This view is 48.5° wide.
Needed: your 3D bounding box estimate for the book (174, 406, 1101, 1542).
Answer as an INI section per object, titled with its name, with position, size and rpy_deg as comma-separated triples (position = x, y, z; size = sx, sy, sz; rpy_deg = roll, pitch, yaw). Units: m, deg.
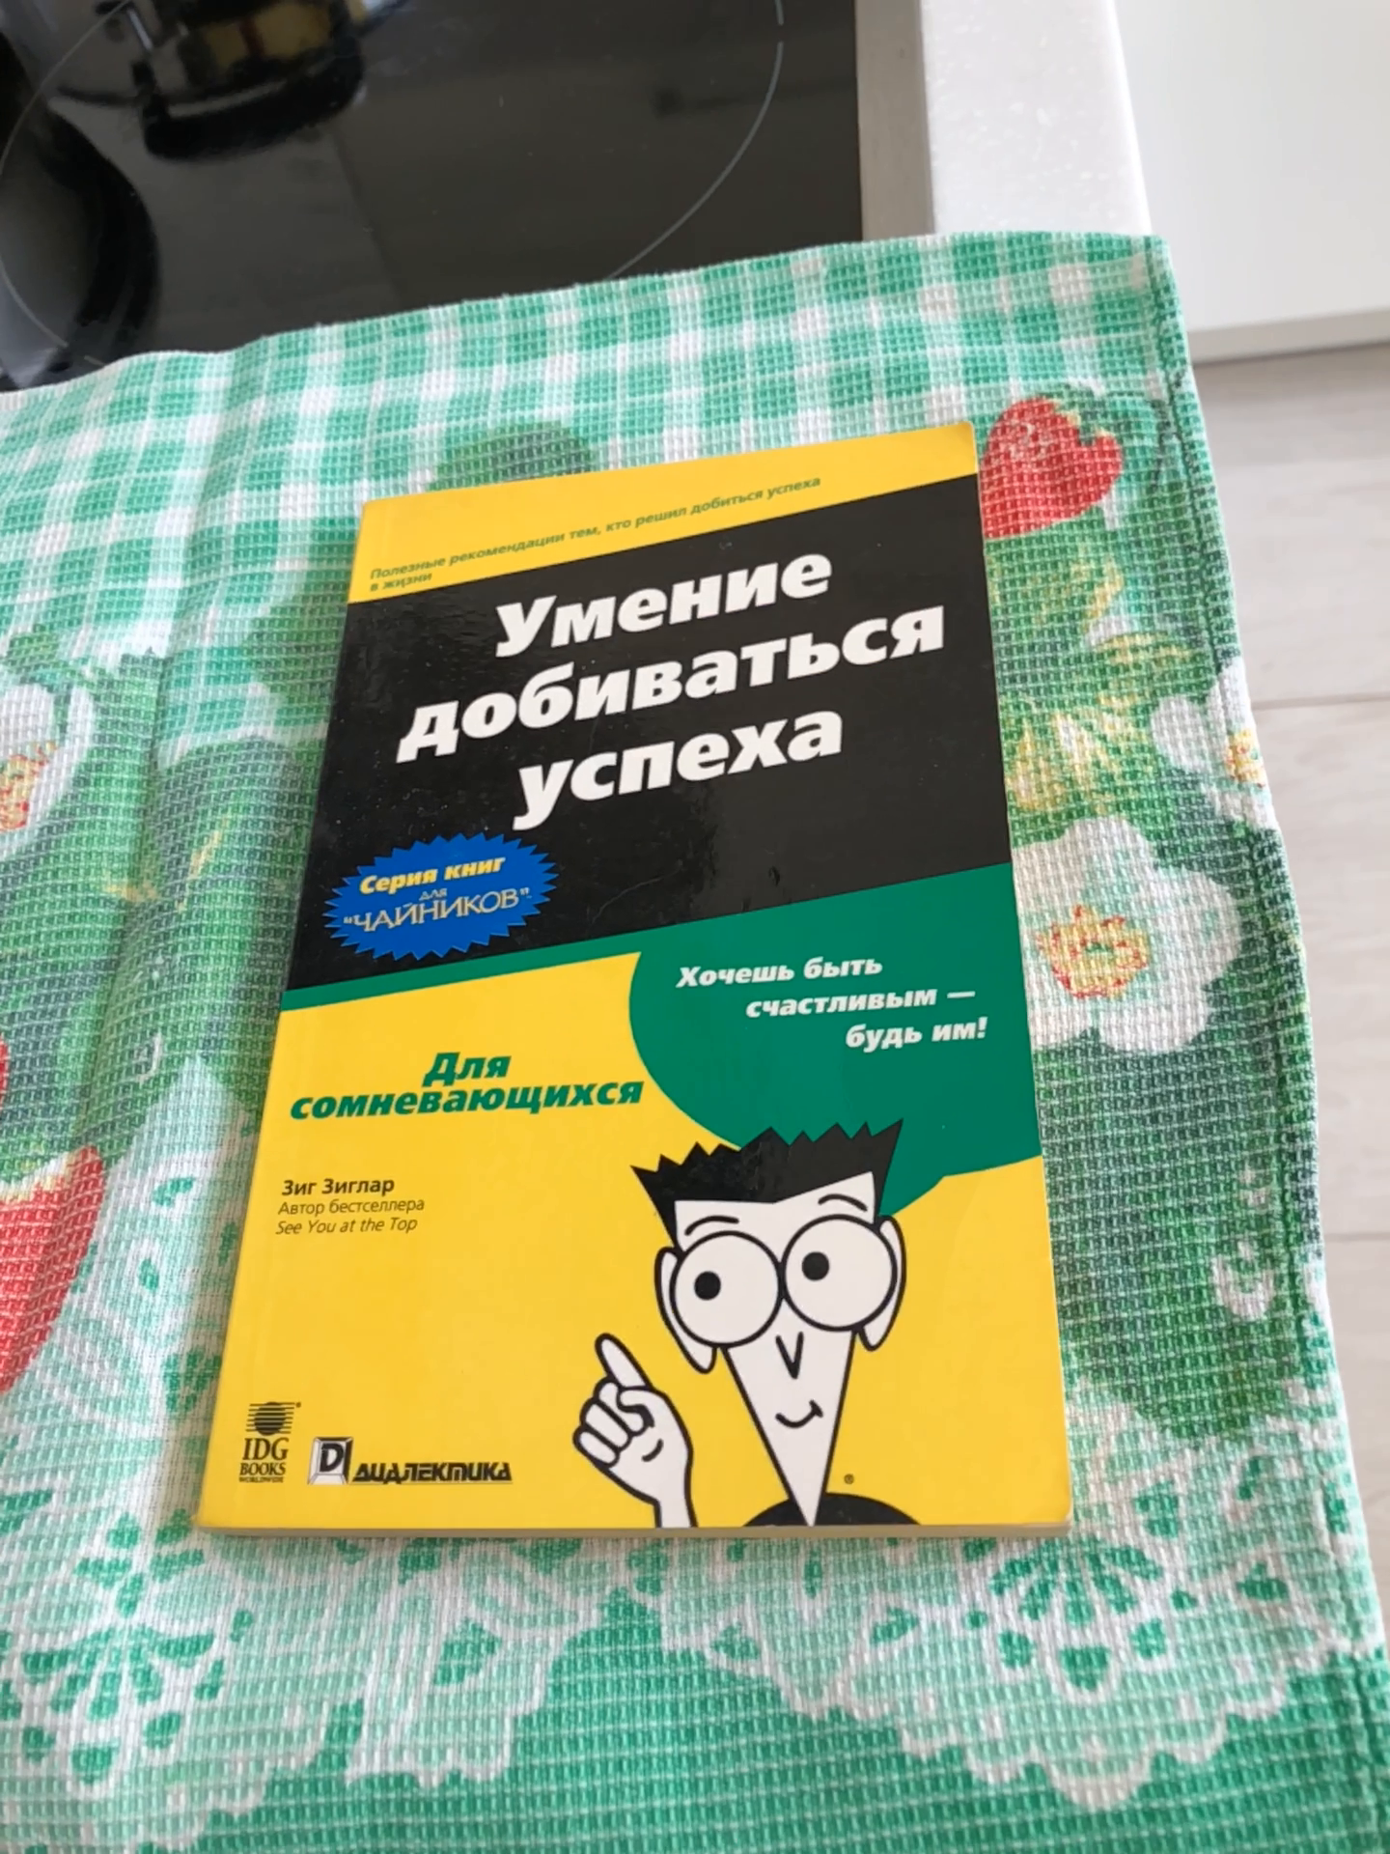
[book]
position = -0.006, -0.001, 0.231
size = 0.113, 0.017, 0.173
rpy_deg = -5, 61, 12
